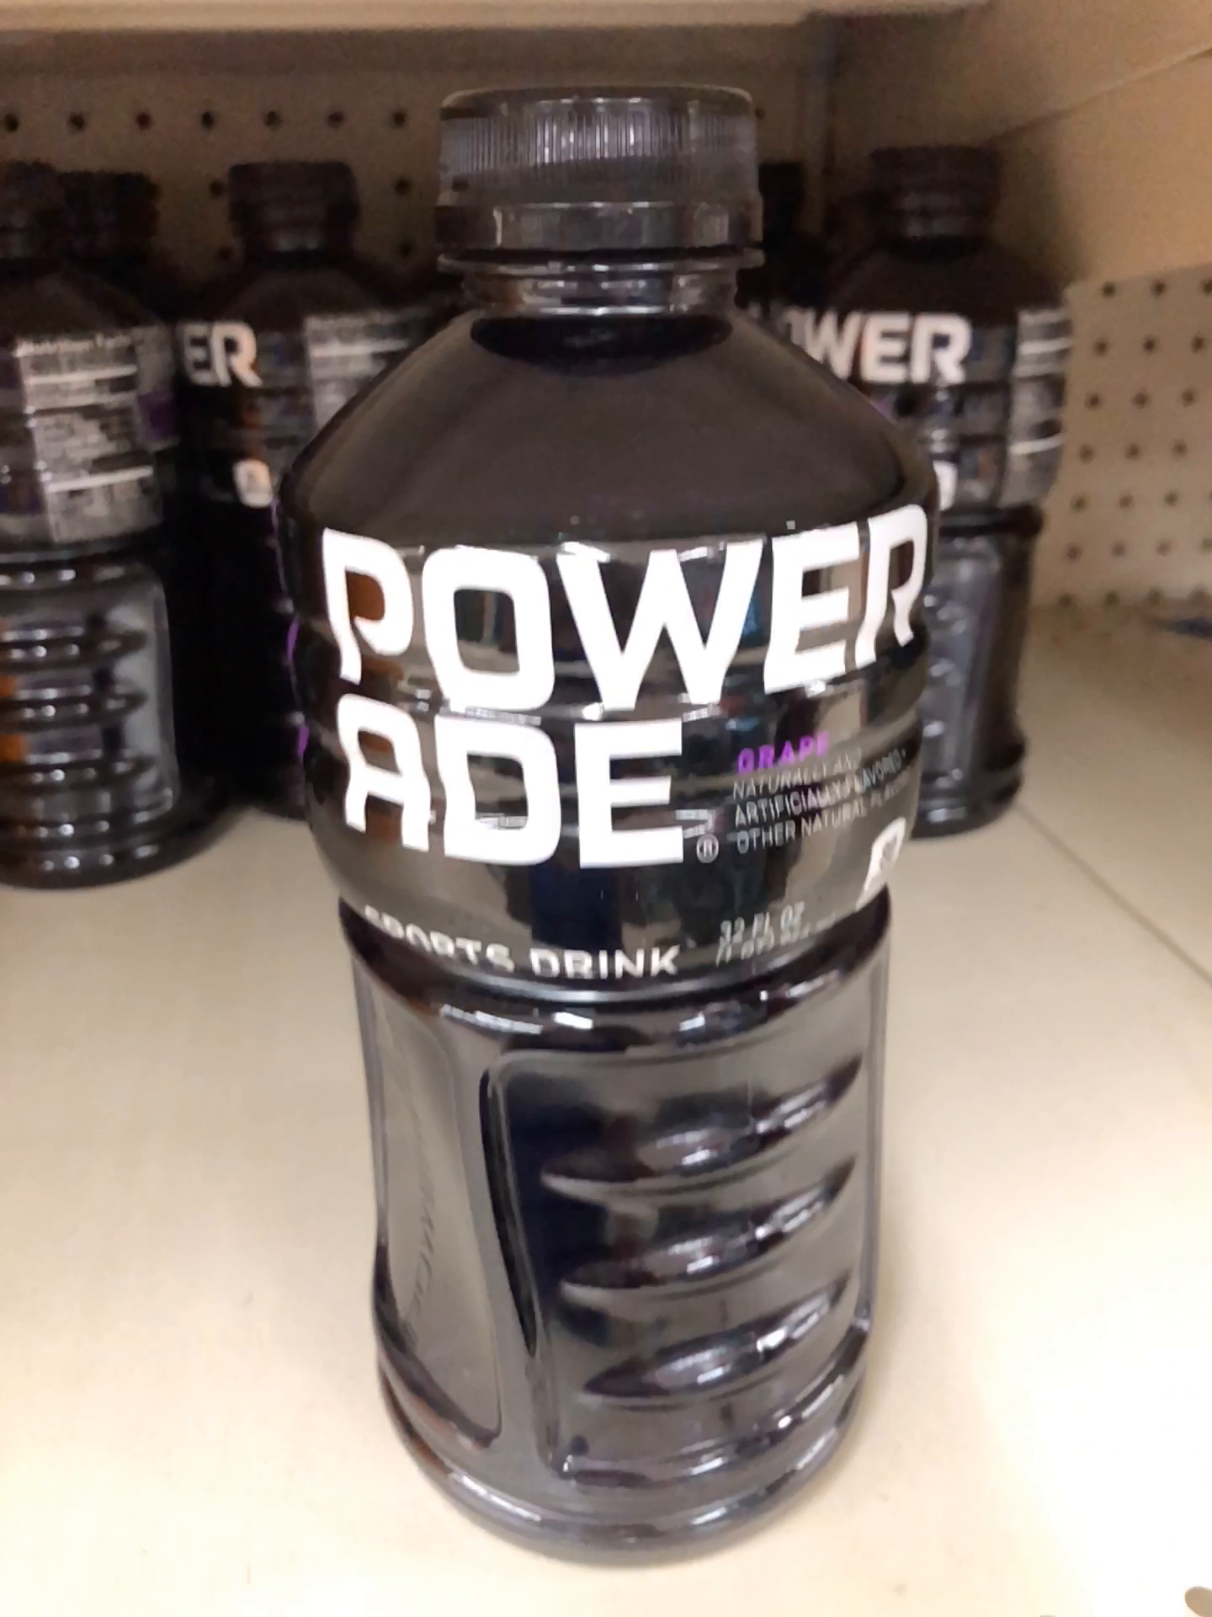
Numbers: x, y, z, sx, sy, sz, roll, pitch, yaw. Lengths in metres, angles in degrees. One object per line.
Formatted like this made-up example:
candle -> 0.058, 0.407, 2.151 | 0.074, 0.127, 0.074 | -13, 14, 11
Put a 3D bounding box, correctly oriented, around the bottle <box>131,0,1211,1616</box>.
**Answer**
bottle -> 0.002, 0.006, 0.203 | 0.098, 0.209, 0.090 | 0, 25, 0
